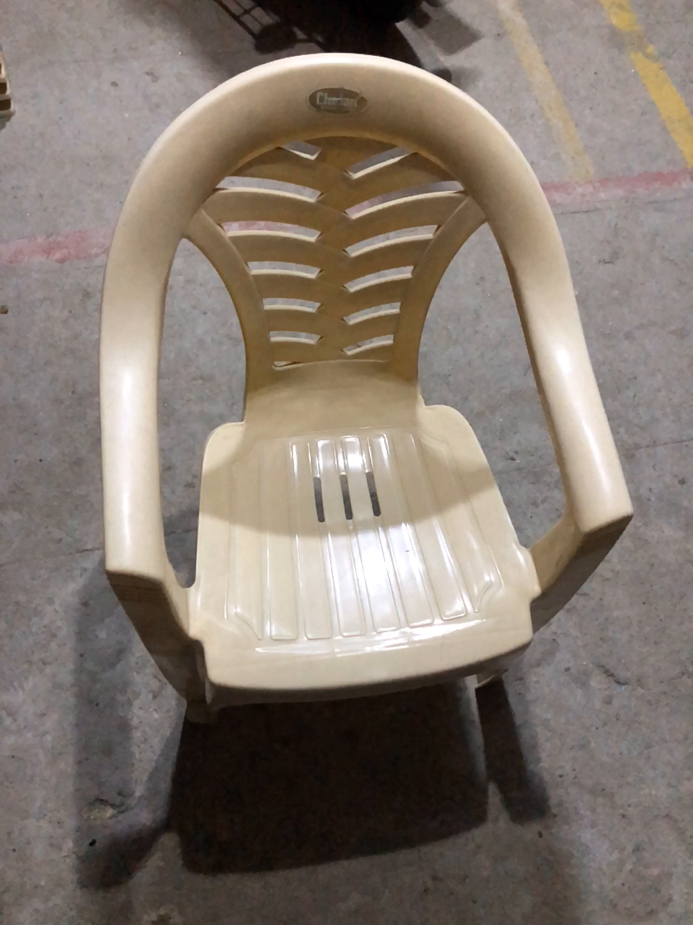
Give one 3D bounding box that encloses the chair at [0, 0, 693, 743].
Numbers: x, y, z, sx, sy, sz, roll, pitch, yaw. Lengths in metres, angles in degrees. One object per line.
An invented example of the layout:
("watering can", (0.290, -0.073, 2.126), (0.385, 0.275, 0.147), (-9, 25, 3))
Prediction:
("chair", (0.012, 0.001, 0.961), (0.560, 0.867, 0.562), (-3, 67, -7))
